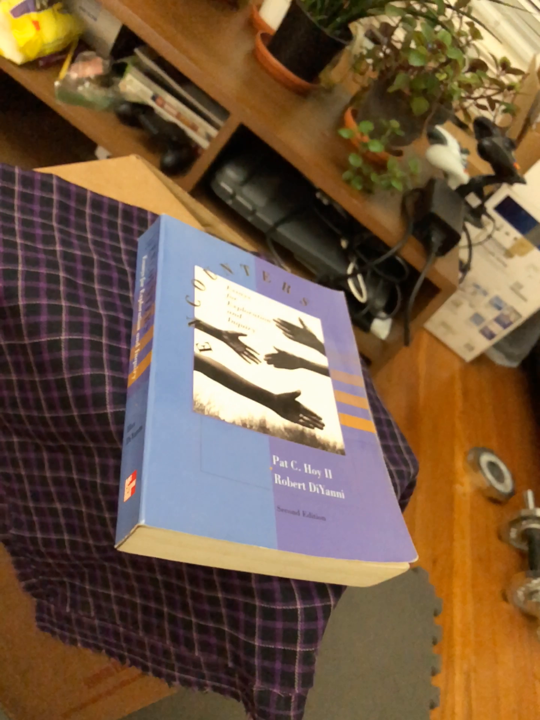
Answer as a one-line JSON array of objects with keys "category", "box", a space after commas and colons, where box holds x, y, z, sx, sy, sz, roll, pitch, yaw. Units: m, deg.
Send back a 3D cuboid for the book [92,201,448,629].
[{"category": "book", "box": [-0.001, 0.028, 0.402, 0.200, 0.040, 0.261, 21, 42, -29]}]
